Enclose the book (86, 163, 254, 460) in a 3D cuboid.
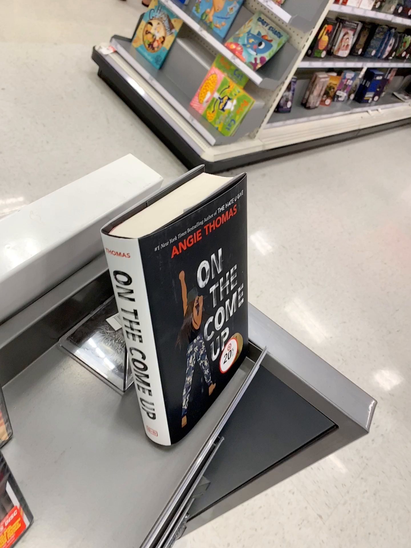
[{"bbox_3d":[-0.013,0.032,0.390,0.056,0.222,0.149,15,37,28],"label":"book"}]
